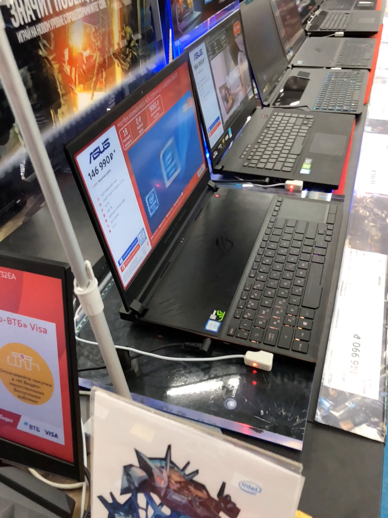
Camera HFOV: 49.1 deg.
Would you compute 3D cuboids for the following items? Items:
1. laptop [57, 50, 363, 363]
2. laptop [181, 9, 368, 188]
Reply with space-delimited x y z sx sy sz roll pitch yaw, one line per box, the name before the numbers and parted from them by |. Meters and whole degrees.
laptop | 0.059 -0.106 0.590 0.278 0.241 0.351 10 42 17
laptop | 0.182 -0.364 0.909 0.301 0.219 0.343 12 43 19
